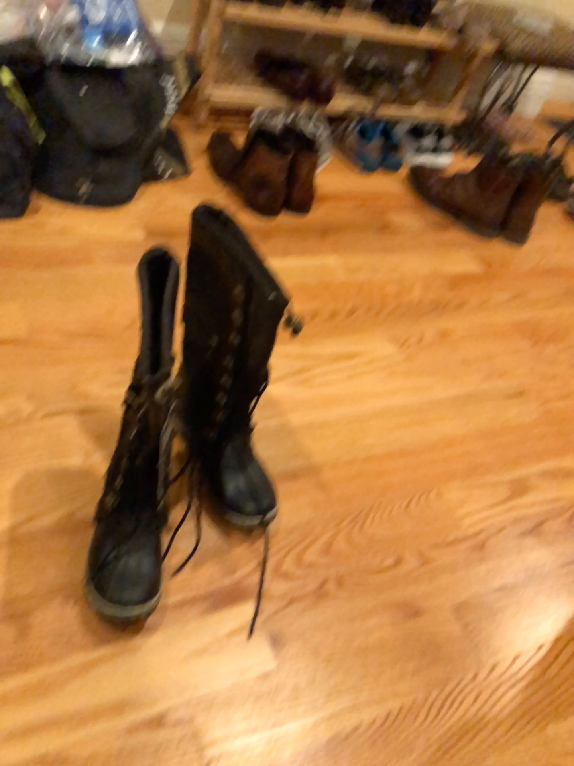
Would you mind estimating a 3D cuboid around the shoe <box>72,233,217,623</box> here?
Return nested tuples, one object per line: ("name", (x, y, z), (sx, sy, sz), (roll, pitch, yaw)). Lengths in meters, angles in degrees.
("shoe", (-0.157, 0.054, 0.658), (0.100, 0.308, 0.261), (5, 45, -16))

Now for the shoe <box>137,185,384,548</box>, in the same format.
("shoe", (-0.060, -0.014, 0.748), (0.100, 0.328, 0.261), (-18, 54, -33))
